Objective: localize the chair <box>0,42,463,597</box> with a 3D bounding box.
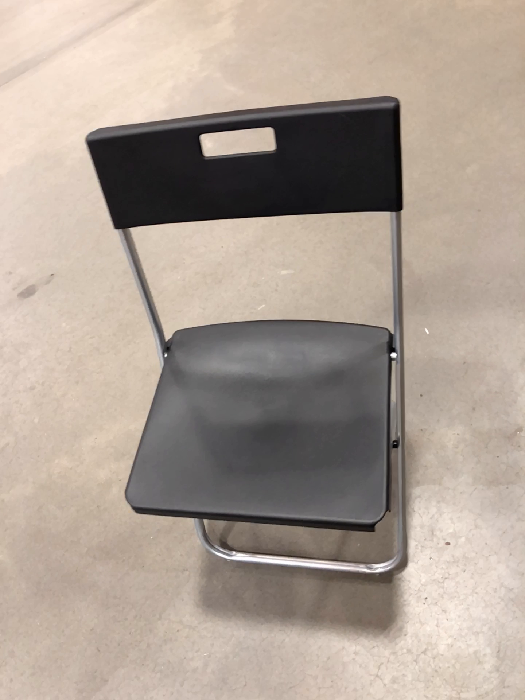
[{"bbox_3d":[0.028,0.049,0.906,0.460,0.758,0.461,-1,57,14],"label":"chair"}]
